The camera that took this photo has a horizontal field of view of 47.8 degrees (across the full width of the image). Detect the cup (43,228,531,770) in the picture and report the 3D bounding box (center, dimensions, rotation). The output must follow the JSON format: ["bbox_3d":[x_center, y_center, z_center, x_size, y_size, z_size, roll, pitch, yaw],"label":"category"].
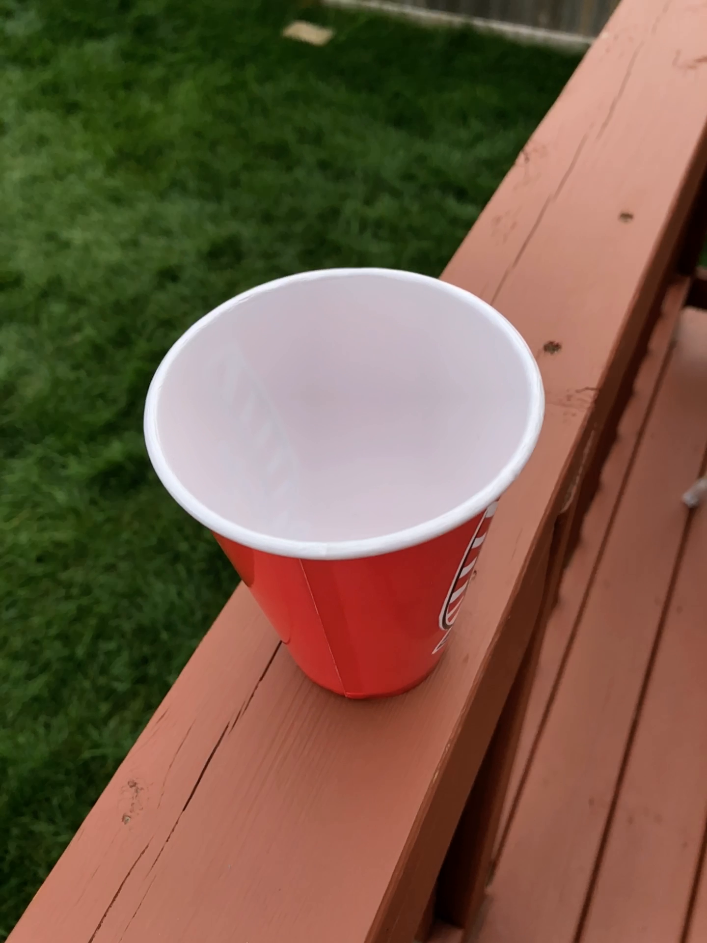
[{"bbox_3d":[-0.005,0.009,0.196,0.080,0.100,0.080,-2,51,2],"label":"cup"}]
